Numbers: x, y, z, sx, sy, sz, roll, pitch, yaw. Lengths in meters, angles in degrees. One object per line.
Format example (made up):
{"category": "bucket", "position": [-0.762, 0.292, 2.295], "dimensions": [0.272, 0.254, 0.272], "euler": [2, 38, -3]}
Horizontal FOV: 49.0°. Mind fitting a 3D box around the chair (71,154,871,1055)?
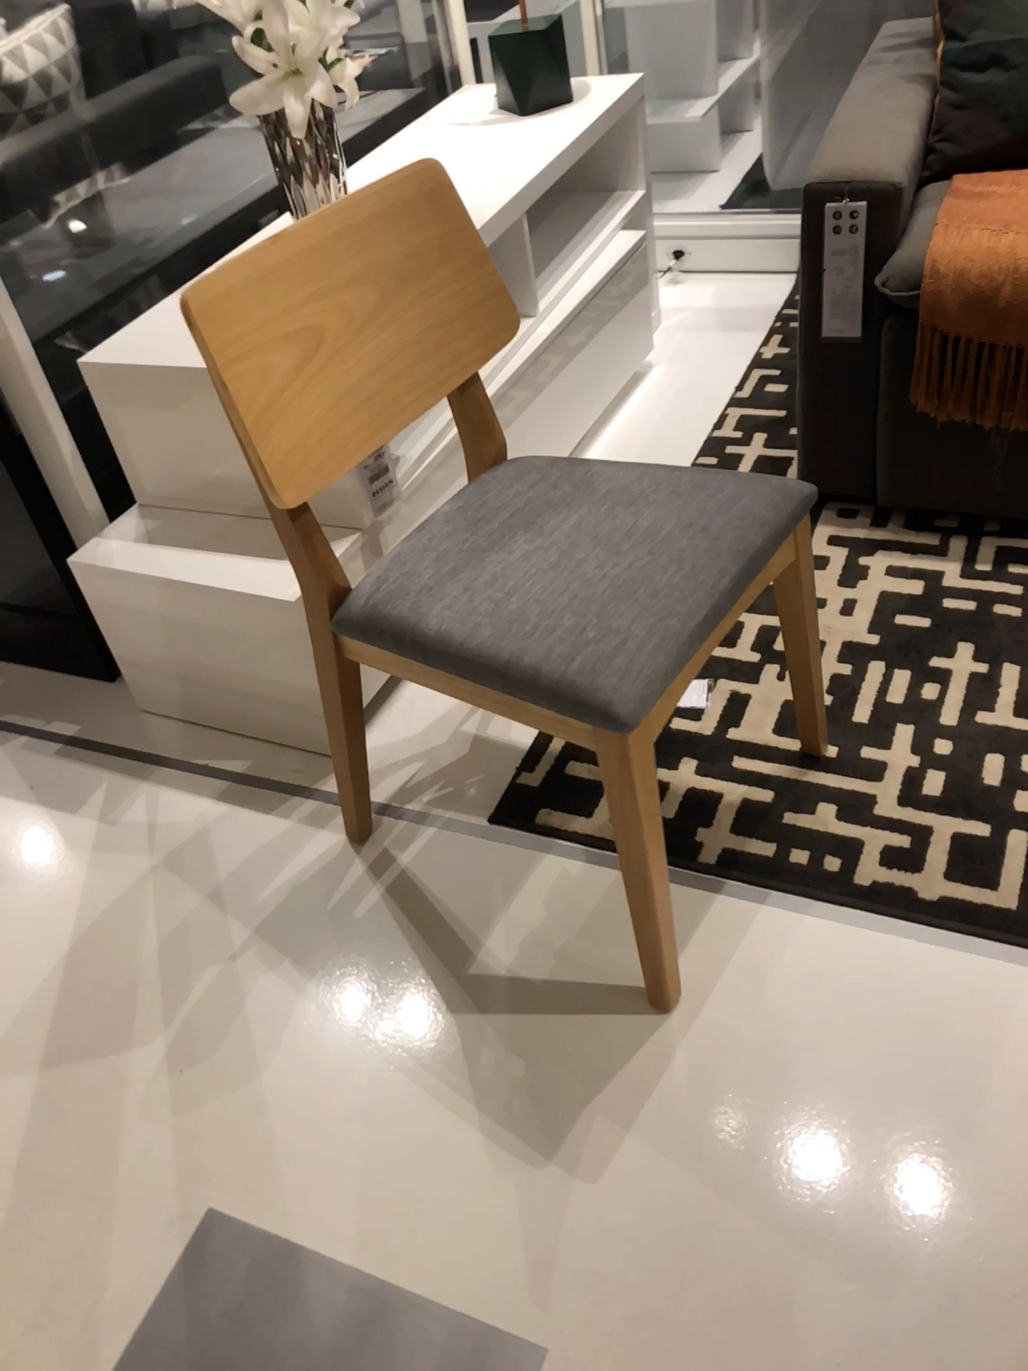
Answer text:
{"category": "chair", "position": [0.024, -0.118, 1.341], "dimensions": [0.582, 0.794, 0.543], "euler": [17, 47, 30]}
